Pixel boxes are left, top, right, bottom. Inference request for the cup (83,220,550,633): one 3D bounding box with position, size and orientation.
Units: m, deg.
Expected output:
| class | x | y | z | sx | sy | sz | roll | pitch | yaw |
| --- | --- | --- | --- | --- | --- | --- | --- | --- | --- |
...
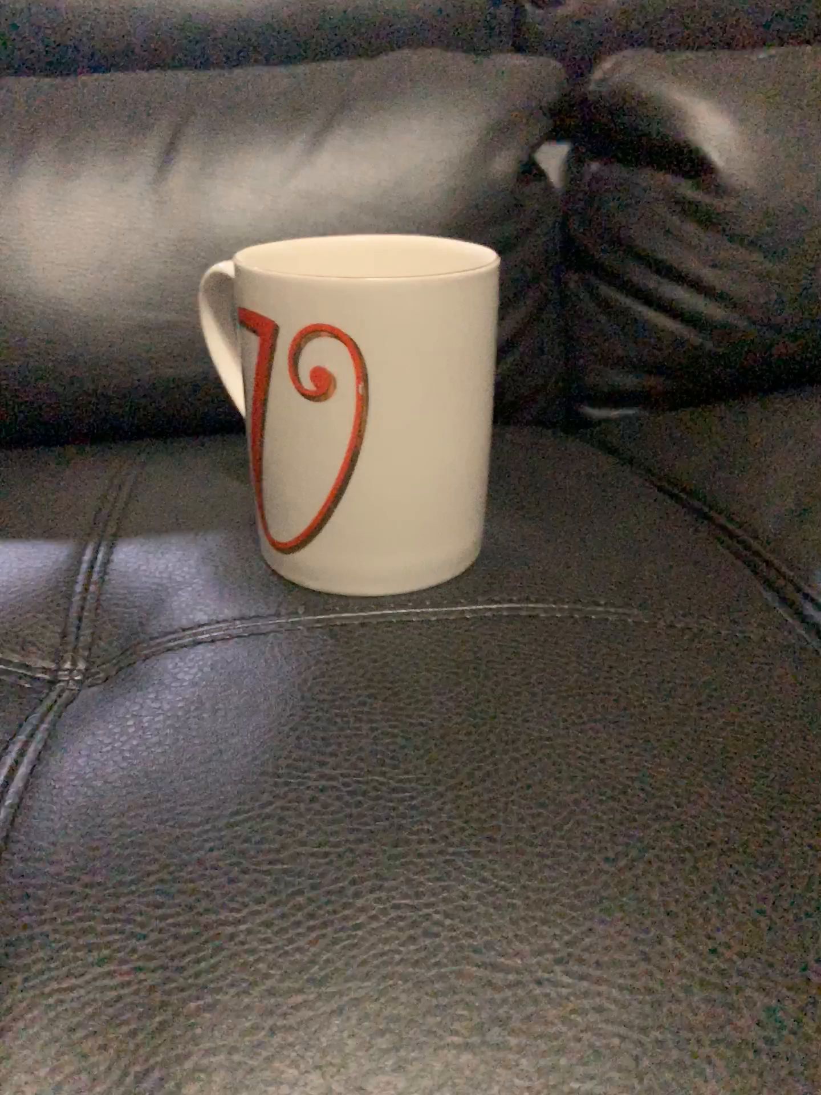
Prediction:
| class | x | y | z | sx | sy | sz | roll | pitch | yaw |
| --- | --- | --- | --- | --- | --- | --- | --- | --- | --- |
| cup | -0.036 | -0.058 | 0.319 | 0.098 | 0.106 | 0.139 | -22 | 33 | -38 |
